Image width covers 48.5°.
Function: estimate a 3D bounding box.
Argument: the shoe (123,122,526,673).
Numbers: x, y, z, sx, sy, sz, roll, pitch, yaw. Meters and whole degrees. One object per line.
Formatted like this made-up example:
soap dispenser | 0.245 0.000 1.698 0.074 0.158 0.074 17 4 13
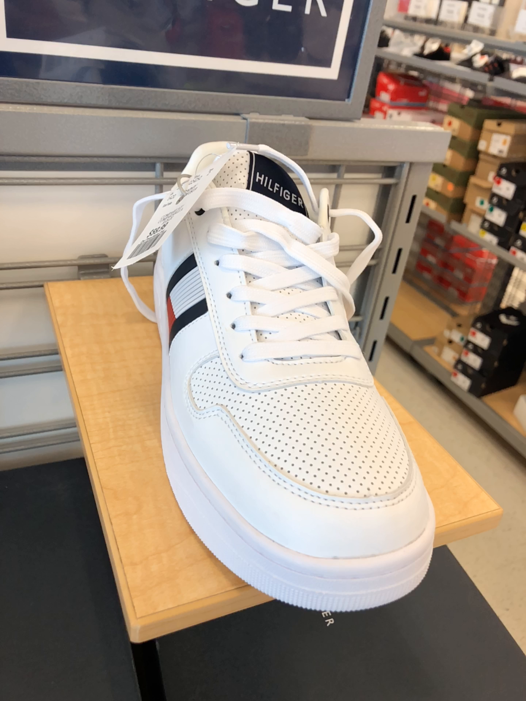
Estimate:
shoe | 0.000 -0.021 0.291 0.107 0.113 0.282 -3 33 -19
